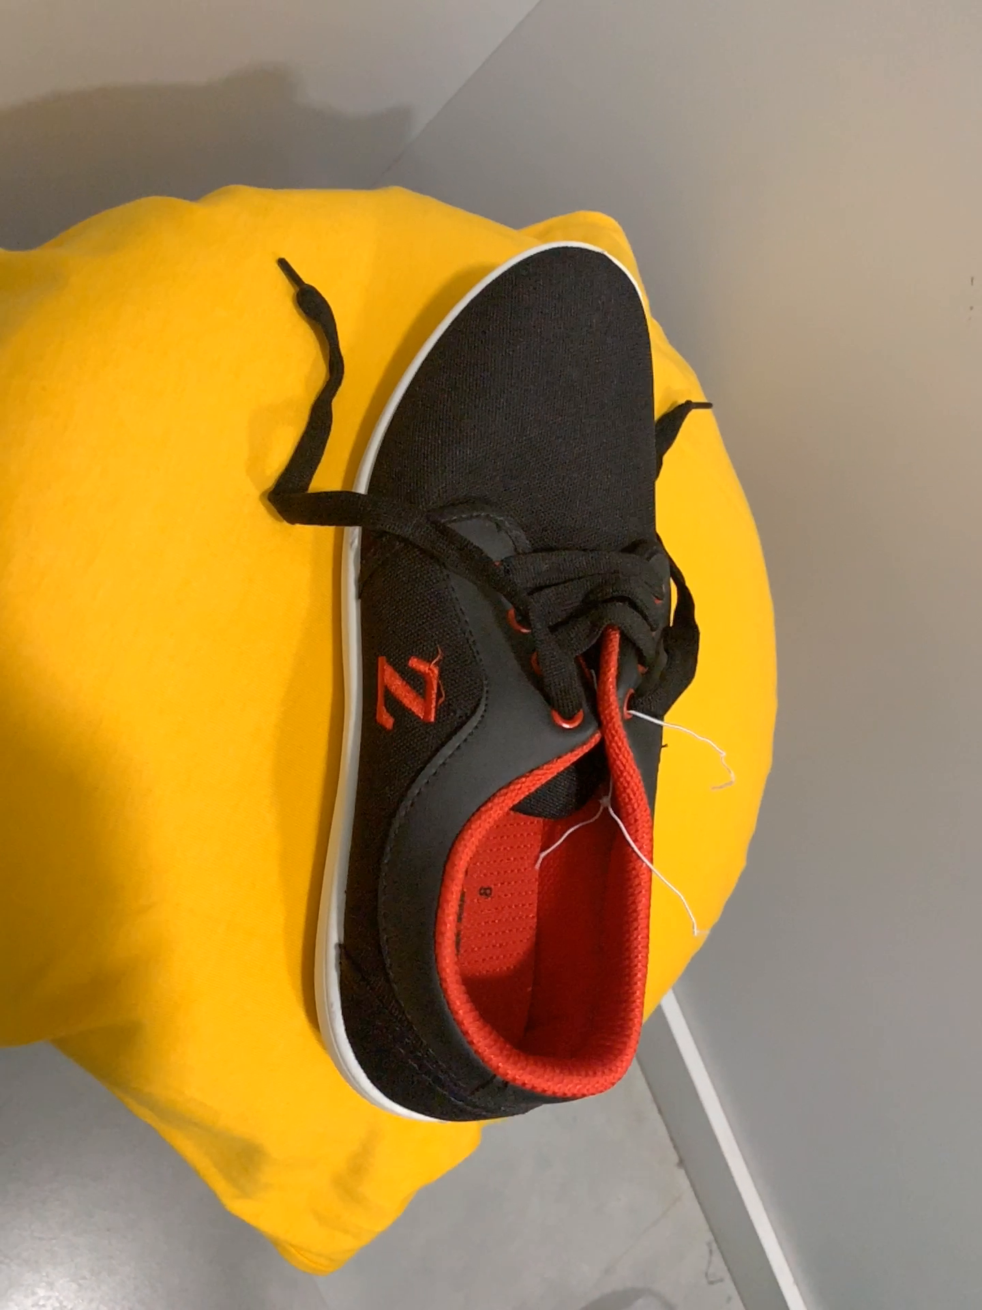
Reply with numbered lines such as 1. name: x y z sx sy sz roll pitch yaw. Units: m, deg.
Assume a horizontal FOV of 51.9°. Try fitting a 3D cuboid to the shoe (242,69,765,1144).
1. shoe: 0.005 -0.011 0.311 0.090 0.100 0.270 13 79 -30
